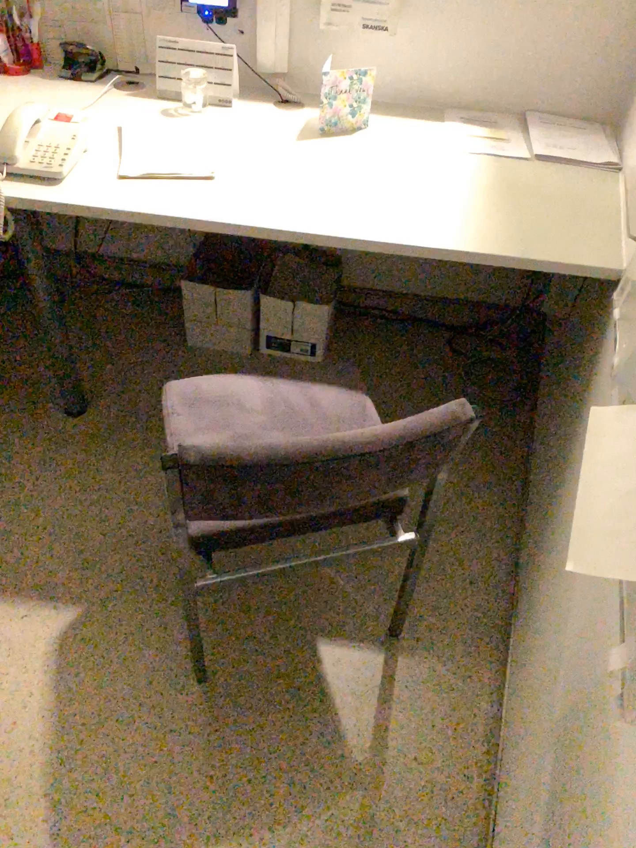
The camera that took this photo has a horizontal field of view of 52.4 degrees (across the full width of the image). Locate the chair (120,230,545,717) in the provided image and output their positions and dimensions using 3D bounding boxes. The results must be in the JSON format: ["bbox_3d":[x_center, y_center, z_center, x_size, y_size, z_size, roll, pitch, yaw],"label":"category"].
[{"bbox_3d":[-0.044,0.093,1.247,0.540,0.693,0.545,-7,45,-13],"label":"chair"}]
